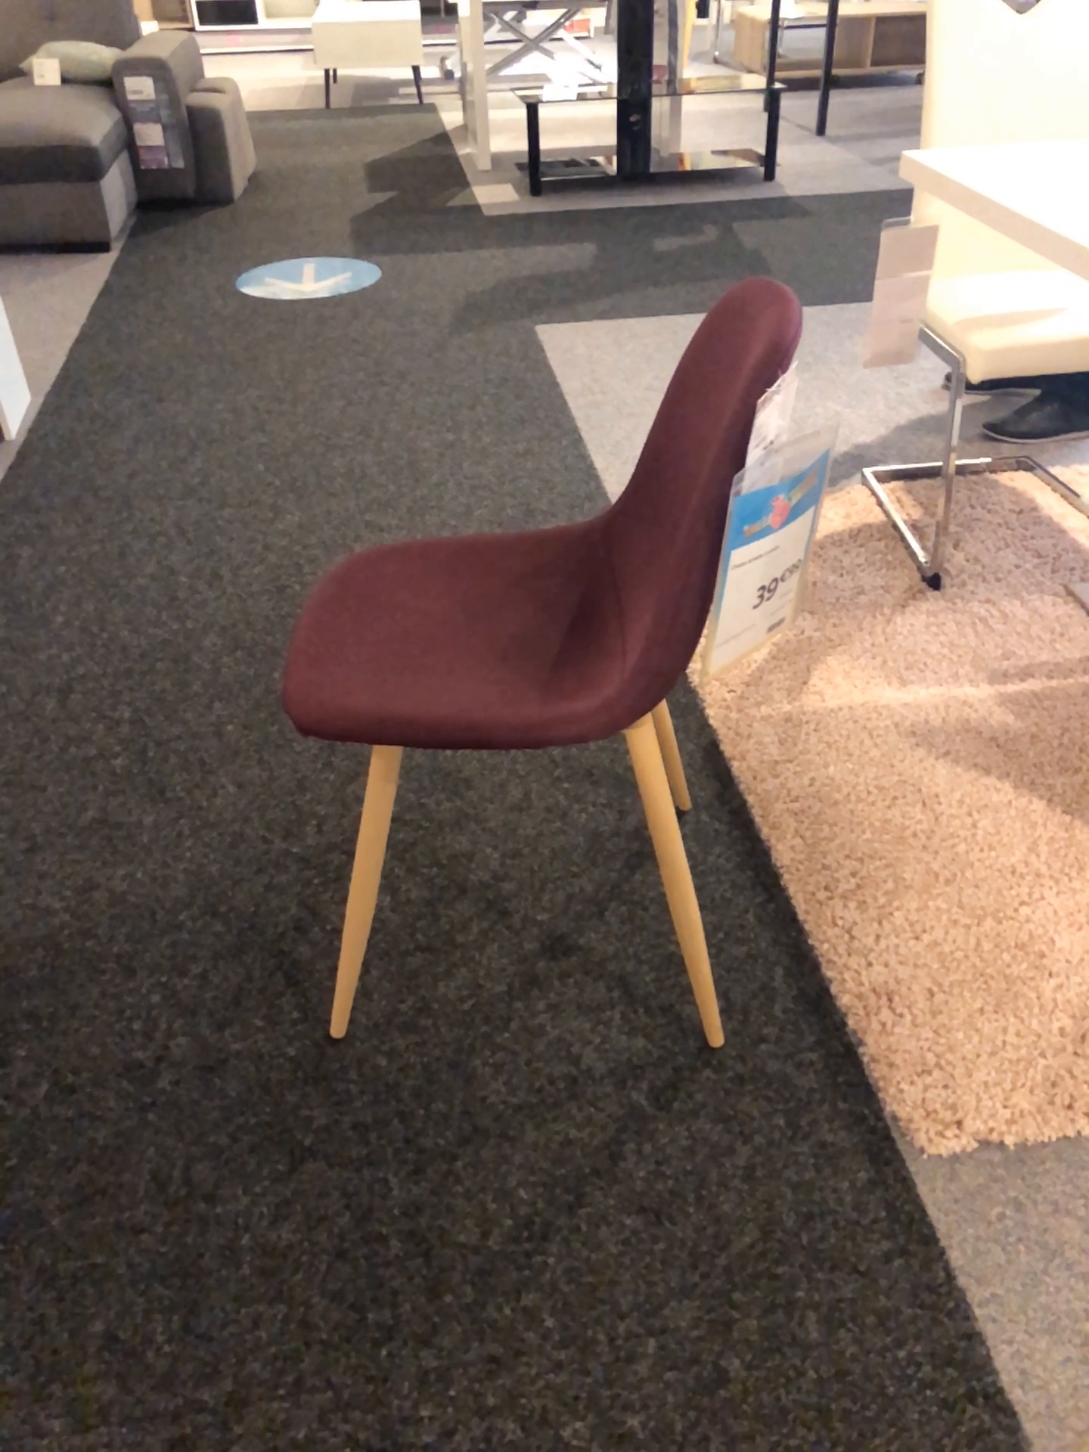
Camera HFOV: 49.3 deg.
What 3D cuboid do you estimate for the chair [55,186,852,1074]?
[{"bbox_3d":[-0.066,-0.094,1.271,0.570,0.795,0.473,-2,35,-2],"label":"chair"}]
